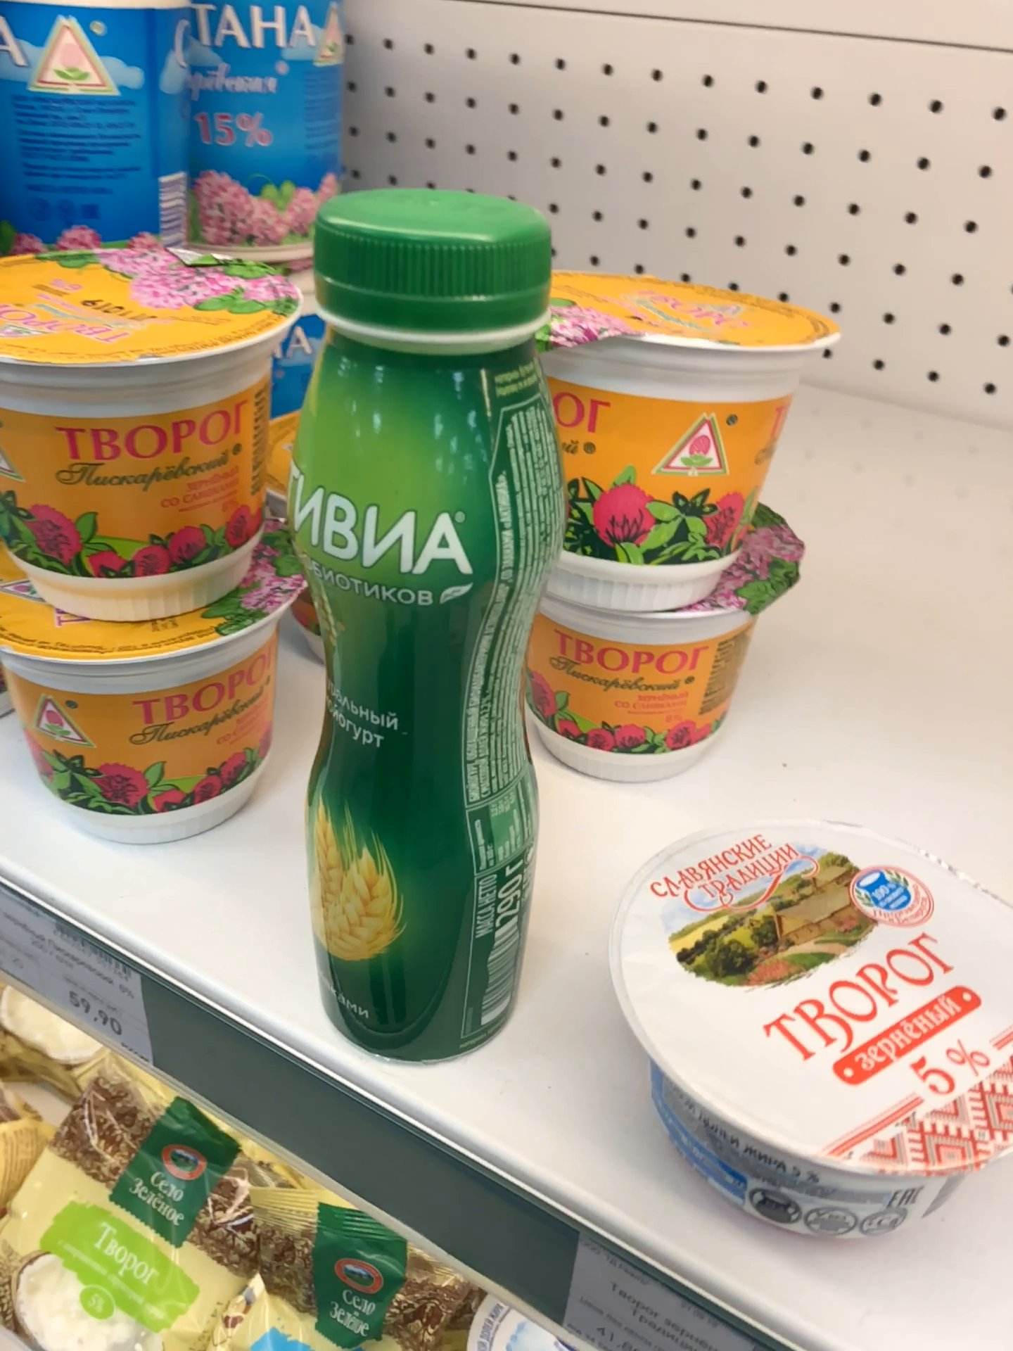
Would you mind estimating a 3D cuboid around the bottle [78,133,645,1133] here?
[{"bbox_3d":[-0.027,-0.003,0.230,0.060,0.183,0.070,-26,43,-35],"label":"bottle"}]
